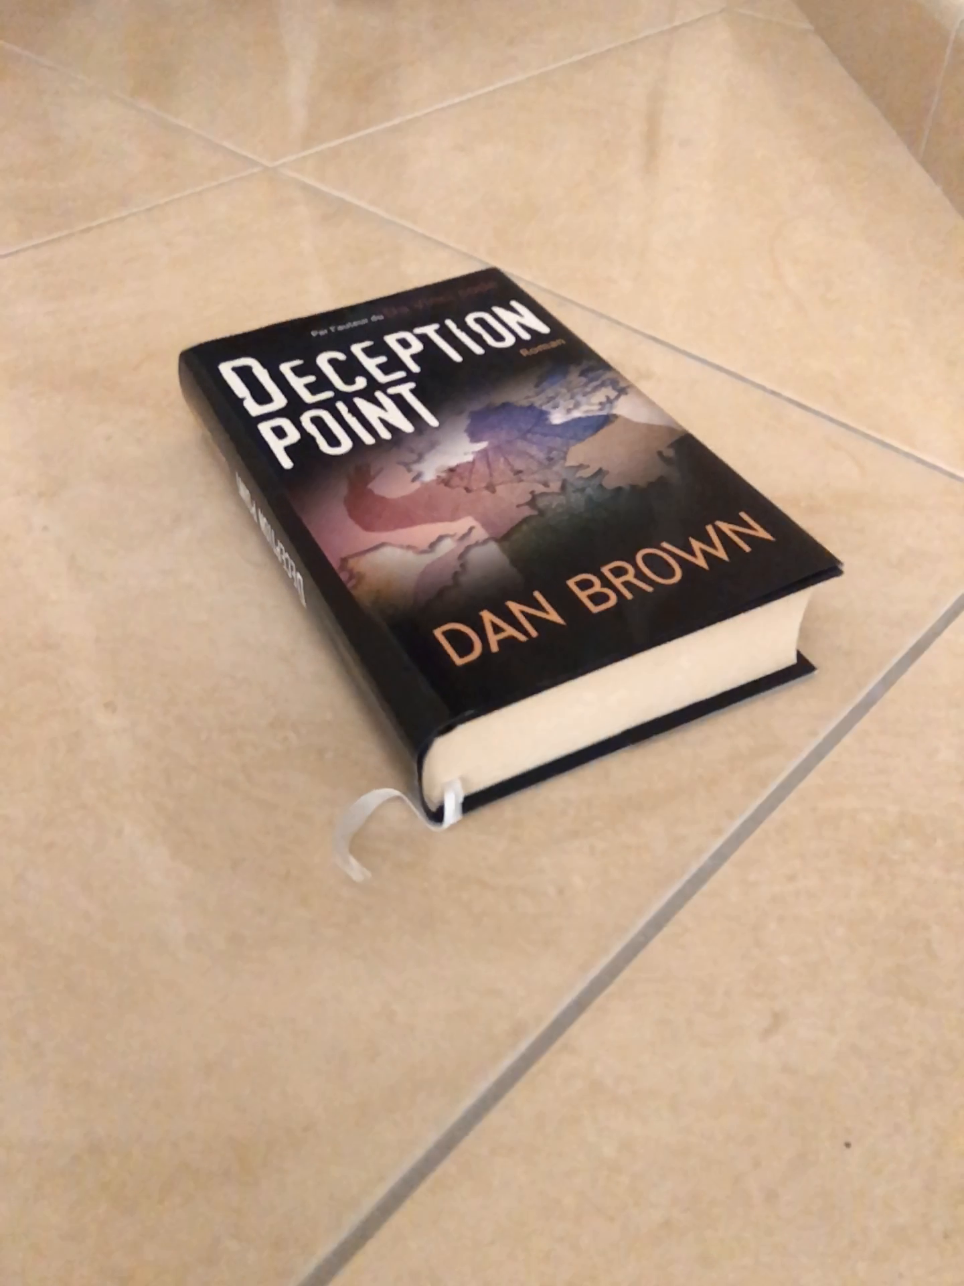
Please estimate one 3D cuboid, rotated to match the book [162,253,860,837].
[{"bbox_3d":[-0.005,-0.053,0.349,0.137,0.037,0.213,-21,48,-18],"label":"book"}]
